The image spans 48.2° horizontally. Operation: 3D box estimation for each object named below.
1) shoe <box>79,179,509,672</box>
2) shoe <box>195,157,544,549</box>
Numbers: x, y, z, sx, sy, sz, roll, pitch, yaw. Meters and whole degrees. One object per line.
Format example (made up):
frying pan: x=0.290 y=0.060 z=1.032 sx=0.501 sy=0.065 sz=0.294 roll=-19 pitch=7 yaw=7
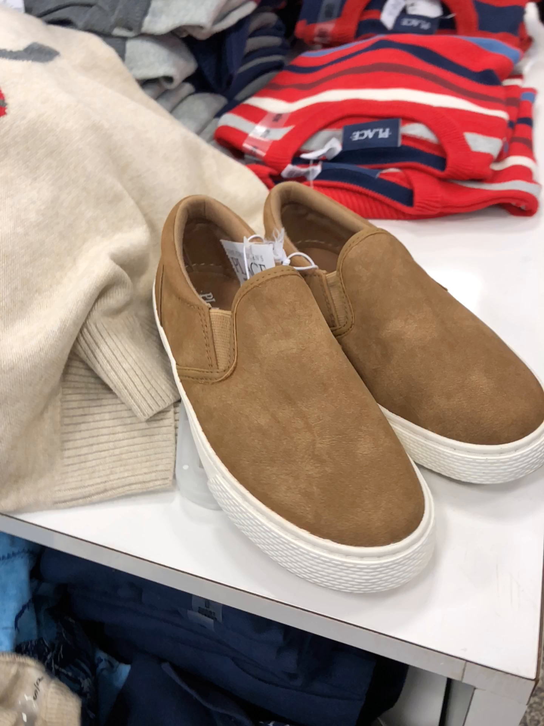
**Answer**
shoe: x=-0.011 y=0.003 z=0.292 sx=0.092 sy=0.080 sz=0.231 roll=-22 pitch=43 yaw=-15
shoe: x=0.055 y=-0.027 z=0.336 sx=0.092 sy=0.080 sz=0.231 roll=-26 pitch=44 yaw=-19
